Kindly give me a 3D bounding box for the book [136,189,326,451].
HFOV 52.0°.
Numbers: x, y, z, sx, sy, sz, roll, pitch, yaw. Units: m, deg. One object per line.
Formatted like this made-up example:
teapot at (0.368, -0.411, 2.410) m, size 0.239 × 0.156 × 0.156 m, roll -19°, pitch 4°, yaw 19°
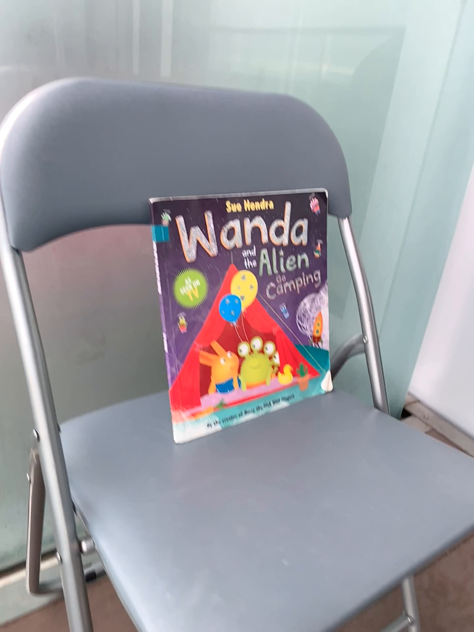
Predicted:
book at (0.007, -0.006, 0.569) m, size 0.231 × 0.269 × 0.030 m, roll -11°, pitch 18°, yaw -33°
